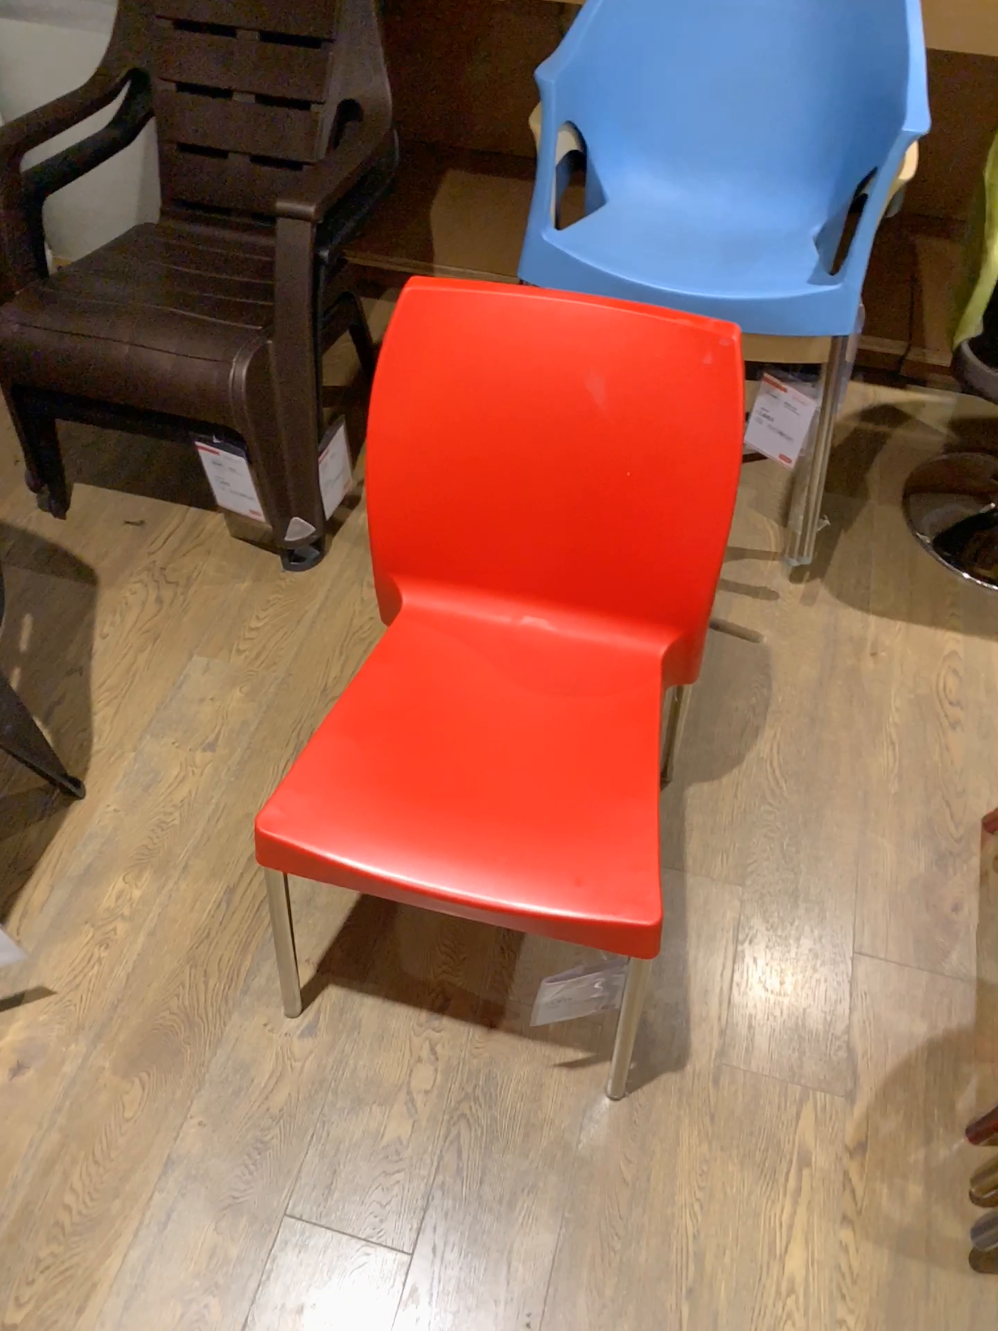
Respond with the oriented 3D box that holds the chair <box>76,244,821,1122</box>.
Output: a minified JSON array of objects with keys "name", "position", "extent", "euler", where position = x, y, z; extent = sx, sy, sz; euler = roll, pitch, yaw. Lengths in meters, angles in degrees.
[{"name":"chair","position":[0.004,0.059,1.196],"extent":[0.520,0.787,0.592],"euler":[11,51,8]}]
